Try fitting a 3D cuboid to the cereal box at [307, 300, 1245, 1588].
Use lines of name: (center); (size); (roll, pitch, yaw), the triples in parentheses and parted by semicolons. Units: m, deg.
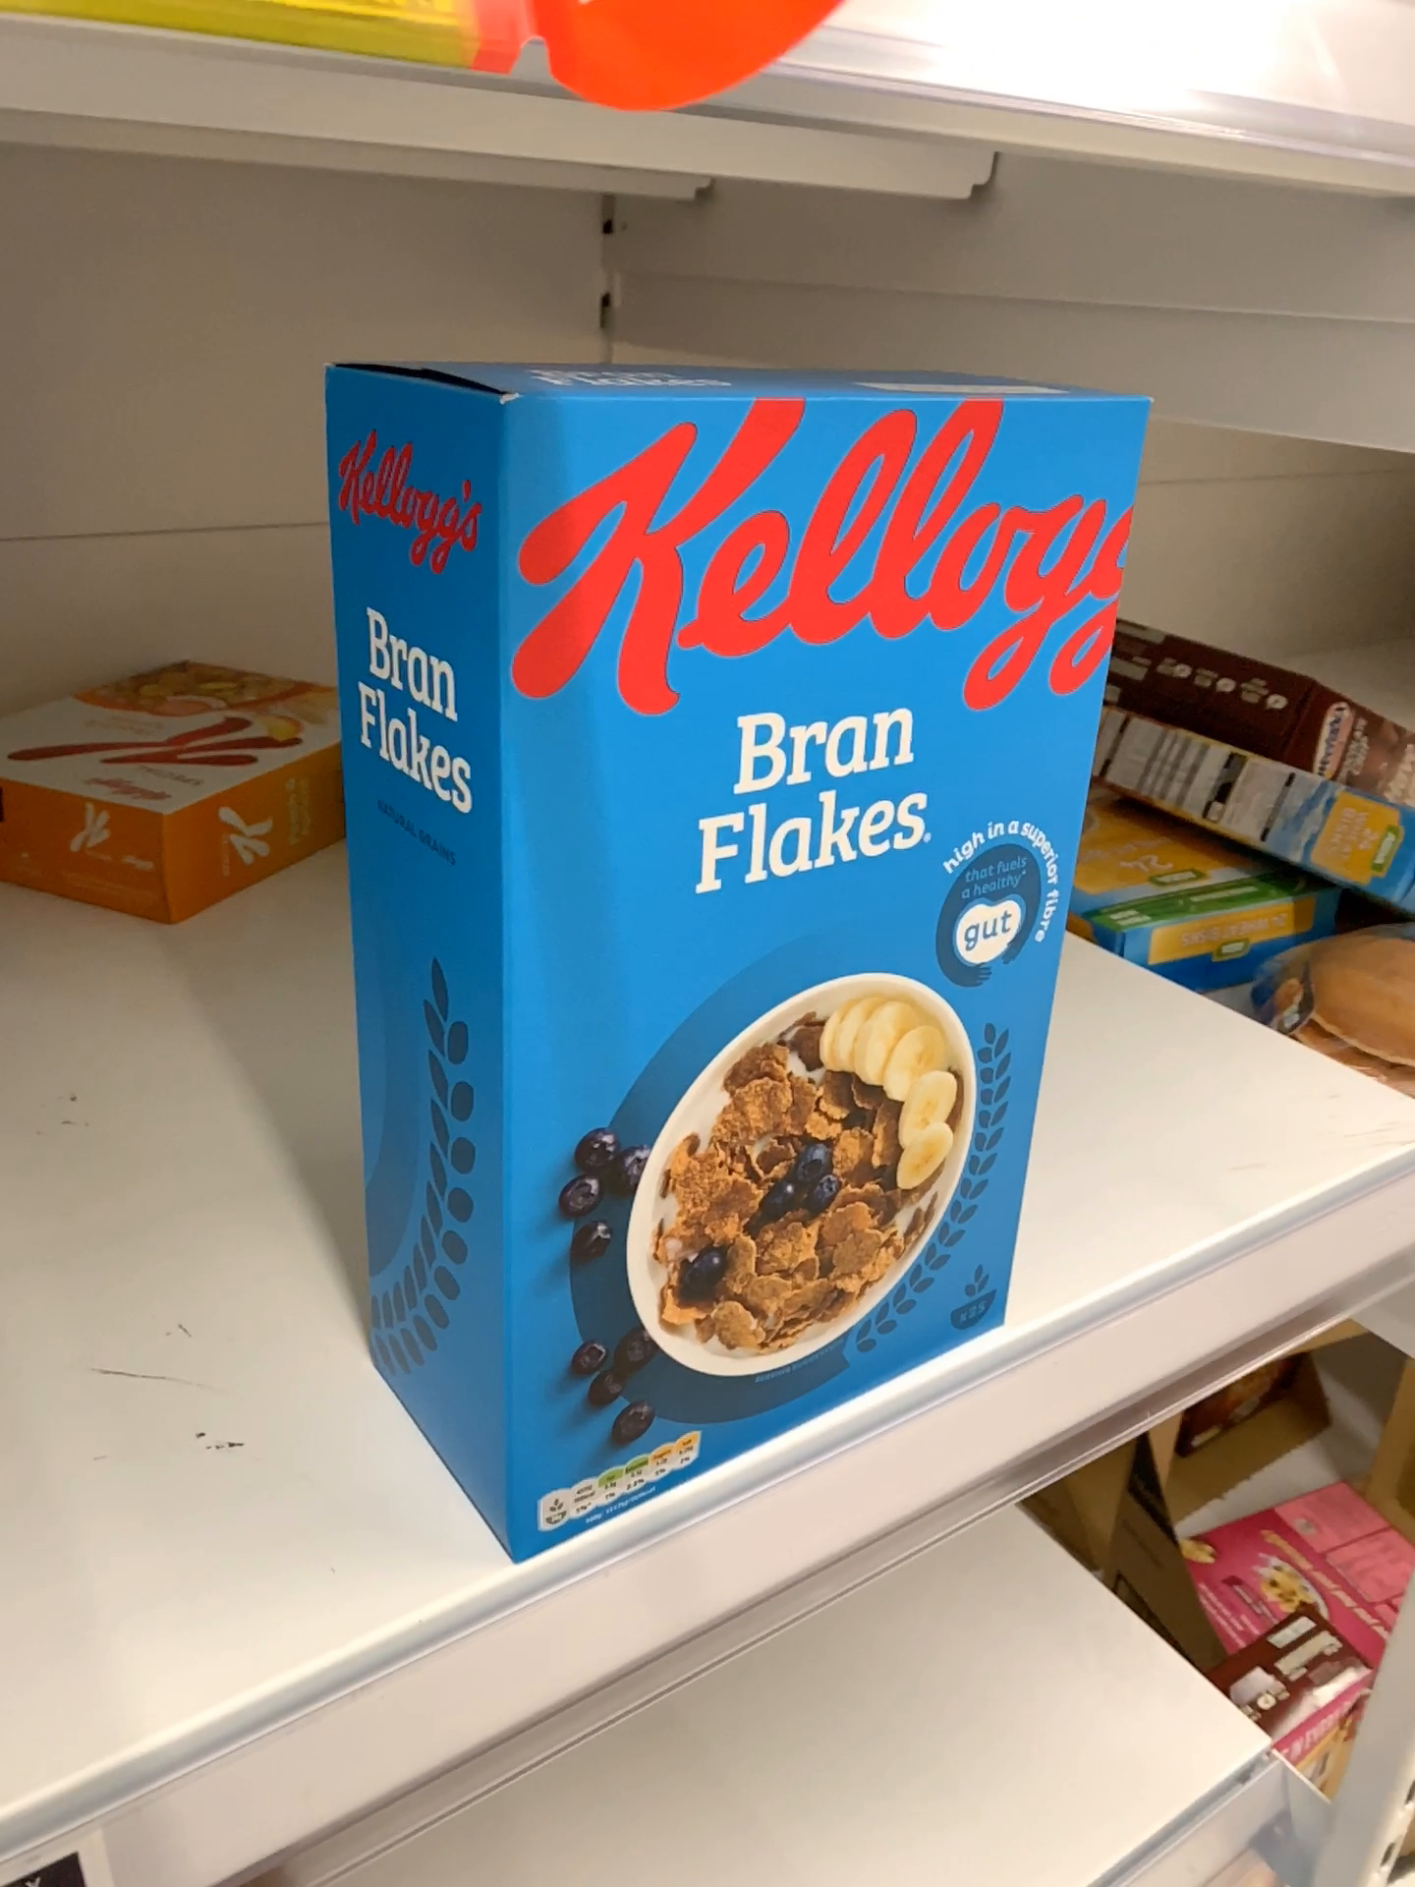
cereal box: (0.016, -0.009, 0.403); (0.211, 0.297, 0.090); (-14, 29, -33)
